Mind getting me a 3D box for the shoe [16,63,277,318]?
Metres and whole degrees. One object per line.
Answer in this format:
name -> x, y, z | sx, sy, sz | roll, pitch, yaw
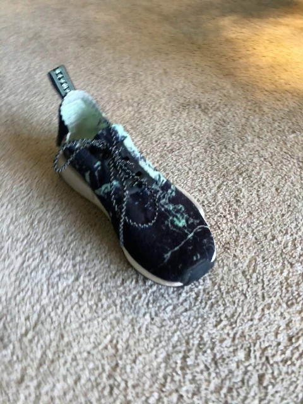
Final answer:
shoe -> -0.024, -0.036, 0.383 | 0.131, 0.100, 0.287 | -31, 57, -21
